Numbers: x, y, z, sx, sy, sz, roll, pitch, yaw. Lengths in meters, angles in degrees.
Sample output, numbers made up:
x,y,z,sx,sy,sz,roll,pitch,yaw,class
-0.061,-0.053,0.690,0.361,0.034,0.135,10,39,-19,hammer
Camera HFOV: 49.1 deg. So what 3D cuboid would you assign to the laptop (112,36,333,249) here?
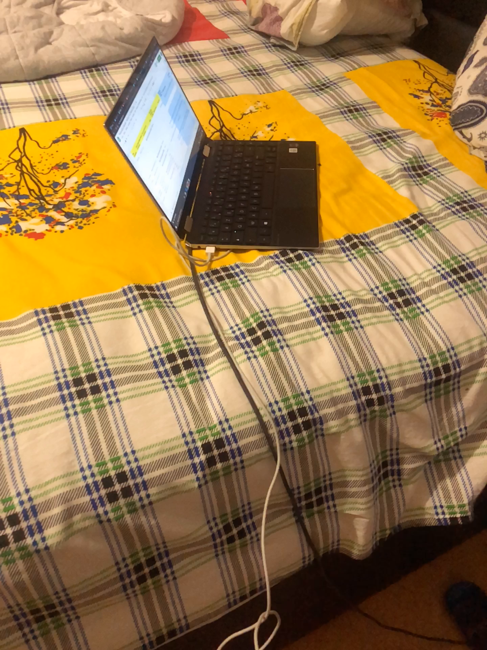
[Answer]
x,y,z,sx,sy,sz,roll,pitch,yaw,class
-0.015,-0.267,0.754,0.253,0.158,0.275,4,48,4,laptop
